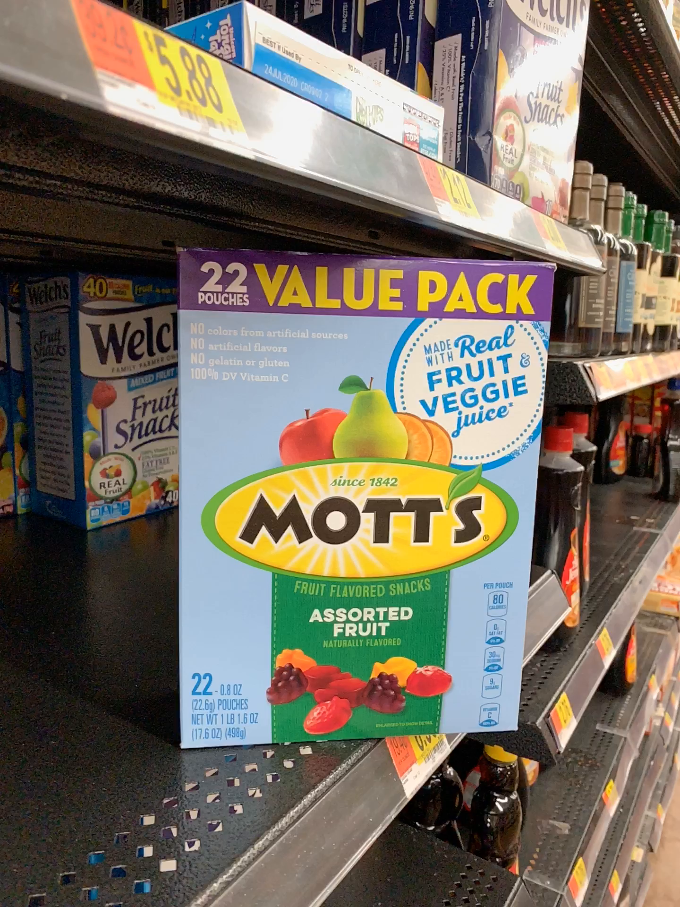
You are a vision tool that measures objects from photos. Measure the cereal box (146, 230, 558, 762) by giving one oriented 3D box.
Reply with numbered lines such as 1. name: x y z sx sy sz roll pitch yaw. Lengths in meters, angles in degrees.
1. cereal box: 0.000 0.022 0.352 0.180 0.239 0.060 1 10 -10
